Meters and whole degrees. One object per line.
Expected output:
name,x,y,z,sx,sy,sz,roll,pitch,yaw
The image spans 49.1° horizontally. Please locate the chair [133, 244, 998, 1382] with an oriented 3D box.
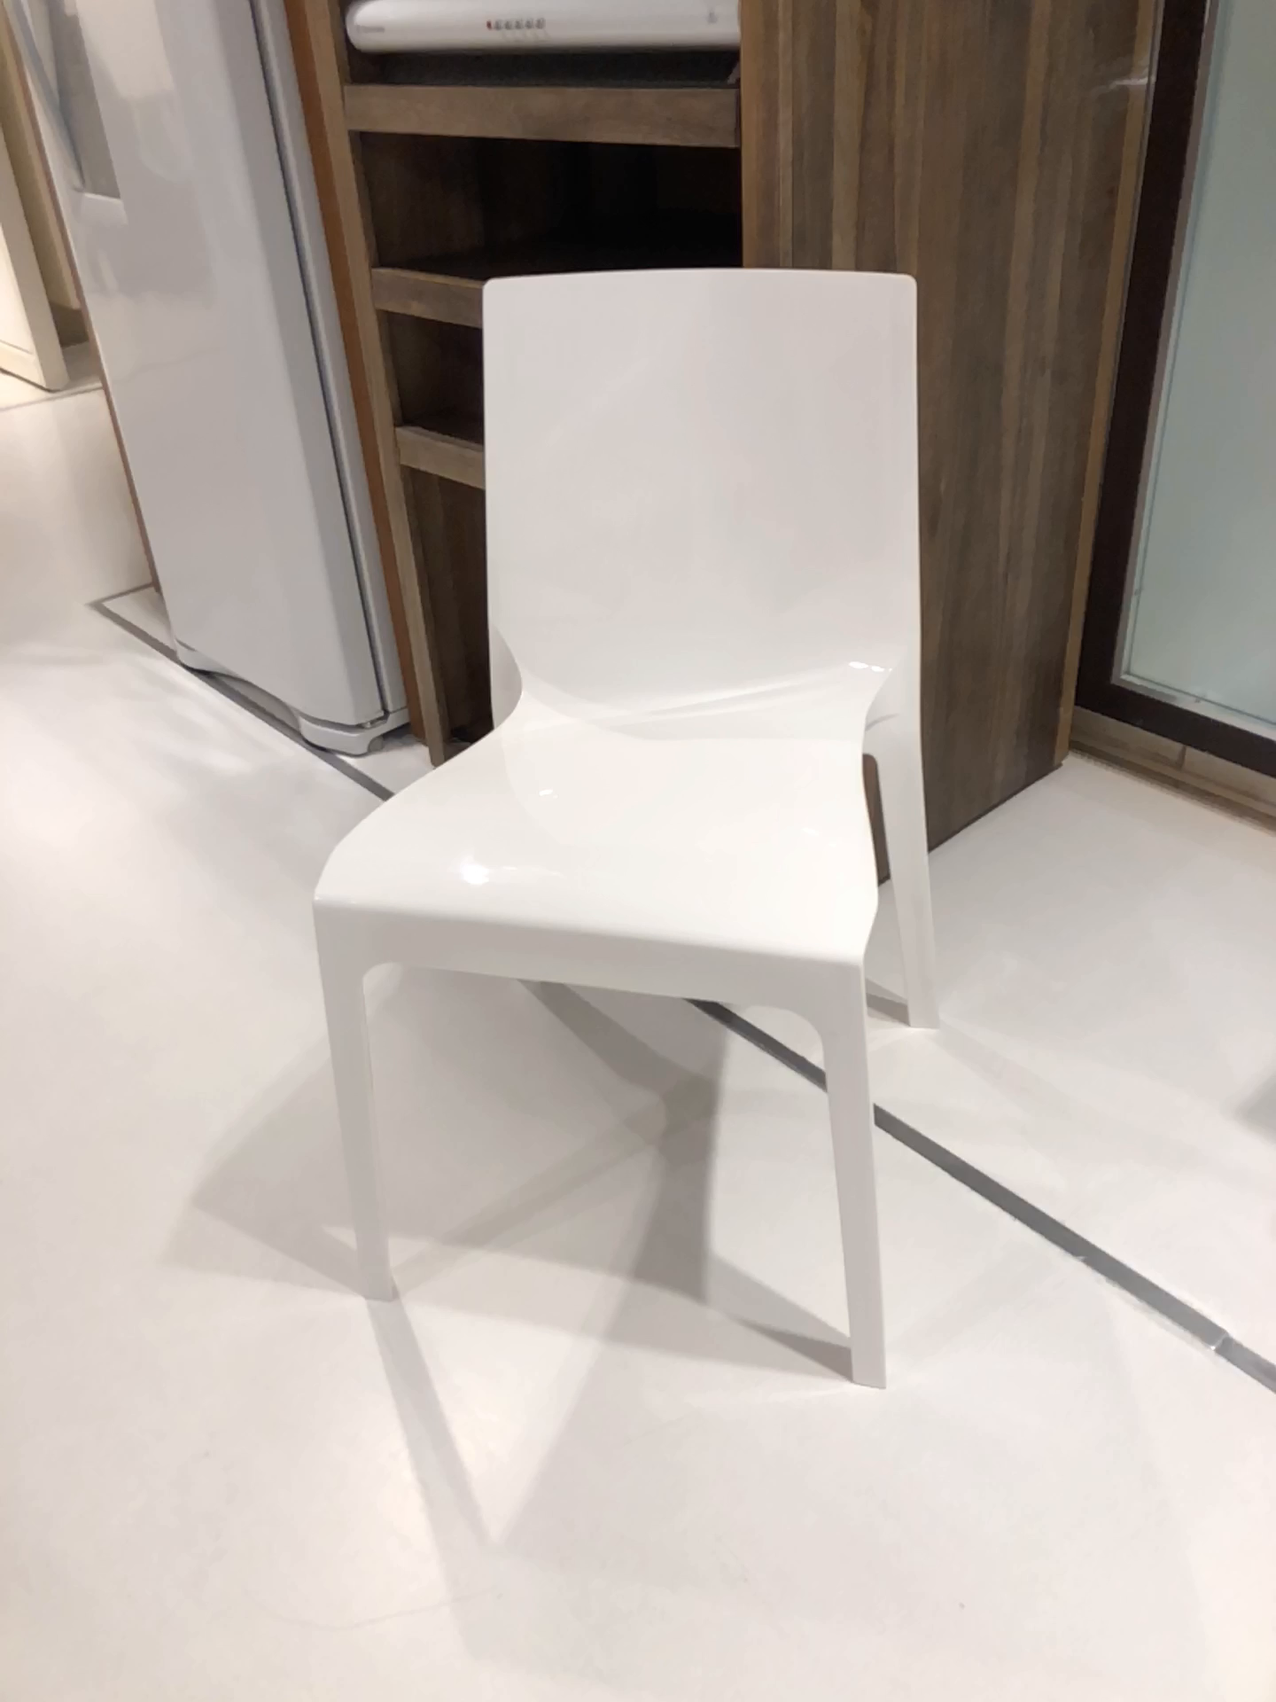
chair,0.019,-0.054,1.179,0.480,0.754,0.524,5,34,13
